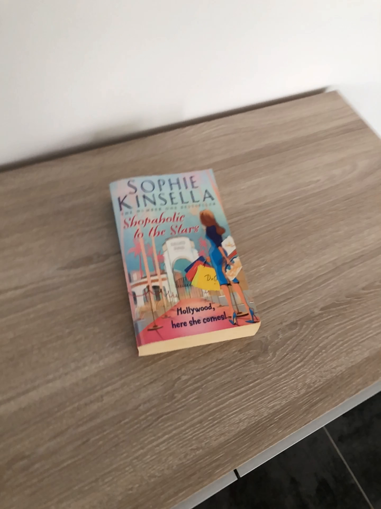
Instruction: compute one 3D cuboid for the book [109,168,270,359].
[{"bbox_3d":[-0.010,0.000,0.465,0.130,0.040,0.201,-7,61,-15],"label":"book"}]
